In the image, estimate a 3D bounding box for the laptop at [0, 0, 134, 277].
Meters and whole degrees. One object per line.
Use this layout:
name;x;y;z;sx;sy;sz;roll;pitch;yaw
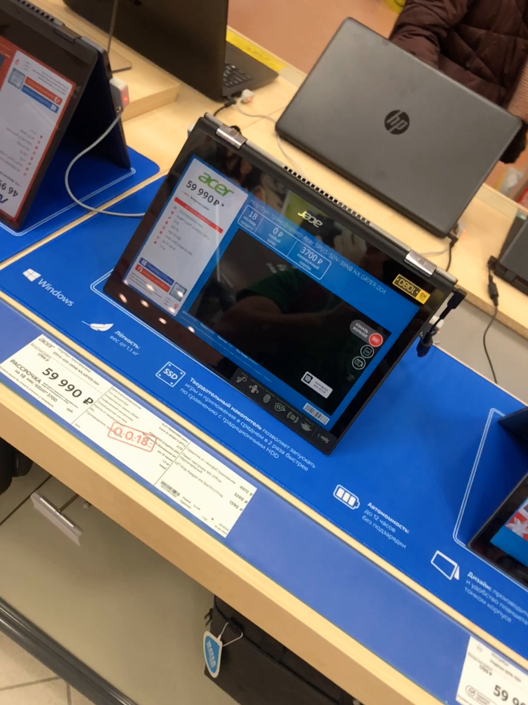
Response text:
laptop;-0.329;-0.302;0.793;0.269;0.179;0.175;35;14;4

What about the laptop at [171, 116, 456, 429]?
laptop;0.024;-0.060;0.778;0.307;0.159;0.201;34;7;0
